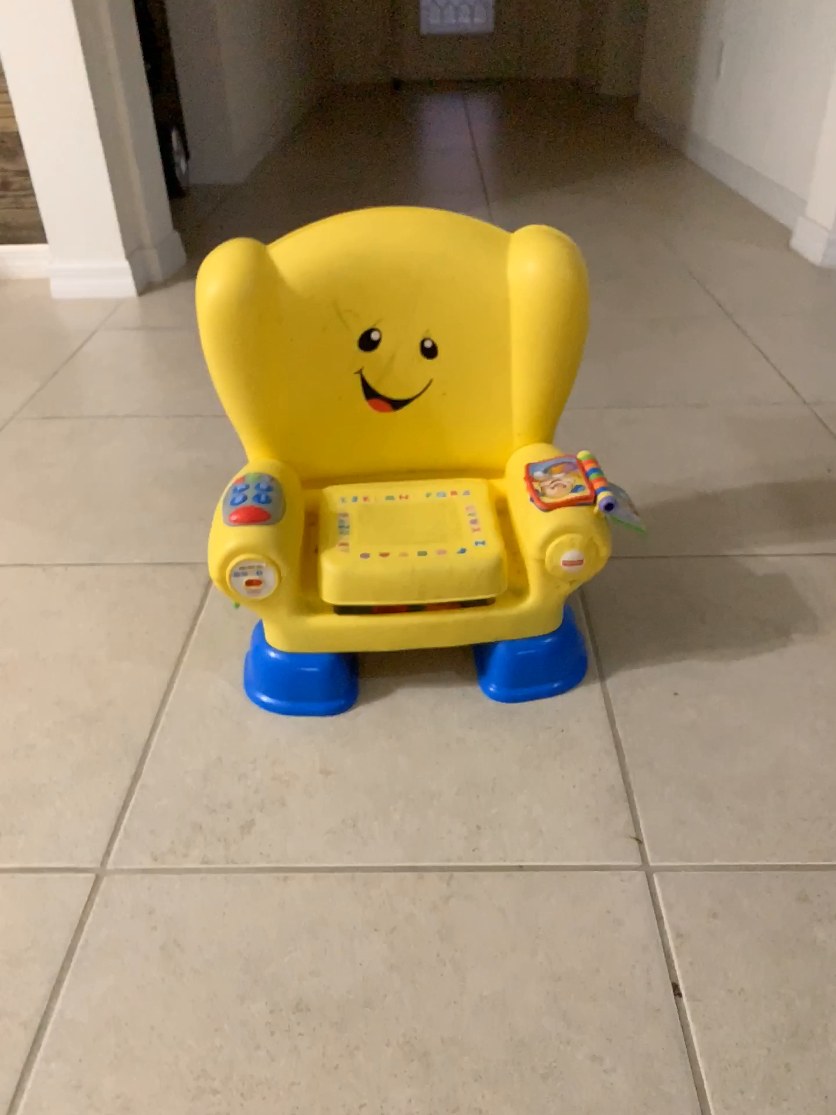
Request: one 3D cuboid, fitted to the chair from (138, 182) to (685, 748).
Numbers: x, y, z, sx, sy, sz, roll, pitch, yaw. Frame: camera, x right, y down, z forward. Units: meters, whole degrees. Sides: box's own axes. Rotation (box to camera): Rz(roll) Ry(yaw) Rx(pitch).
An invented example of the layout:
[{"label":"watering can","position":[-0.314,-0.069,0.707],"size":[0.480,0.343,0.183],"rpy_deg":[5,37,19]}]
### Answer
[{"label":"chair","position":[-0.005,-0.112,0.947],"size":[0.420,0.485,0.374],"rpy_deg":[-2,33,-1]}]
